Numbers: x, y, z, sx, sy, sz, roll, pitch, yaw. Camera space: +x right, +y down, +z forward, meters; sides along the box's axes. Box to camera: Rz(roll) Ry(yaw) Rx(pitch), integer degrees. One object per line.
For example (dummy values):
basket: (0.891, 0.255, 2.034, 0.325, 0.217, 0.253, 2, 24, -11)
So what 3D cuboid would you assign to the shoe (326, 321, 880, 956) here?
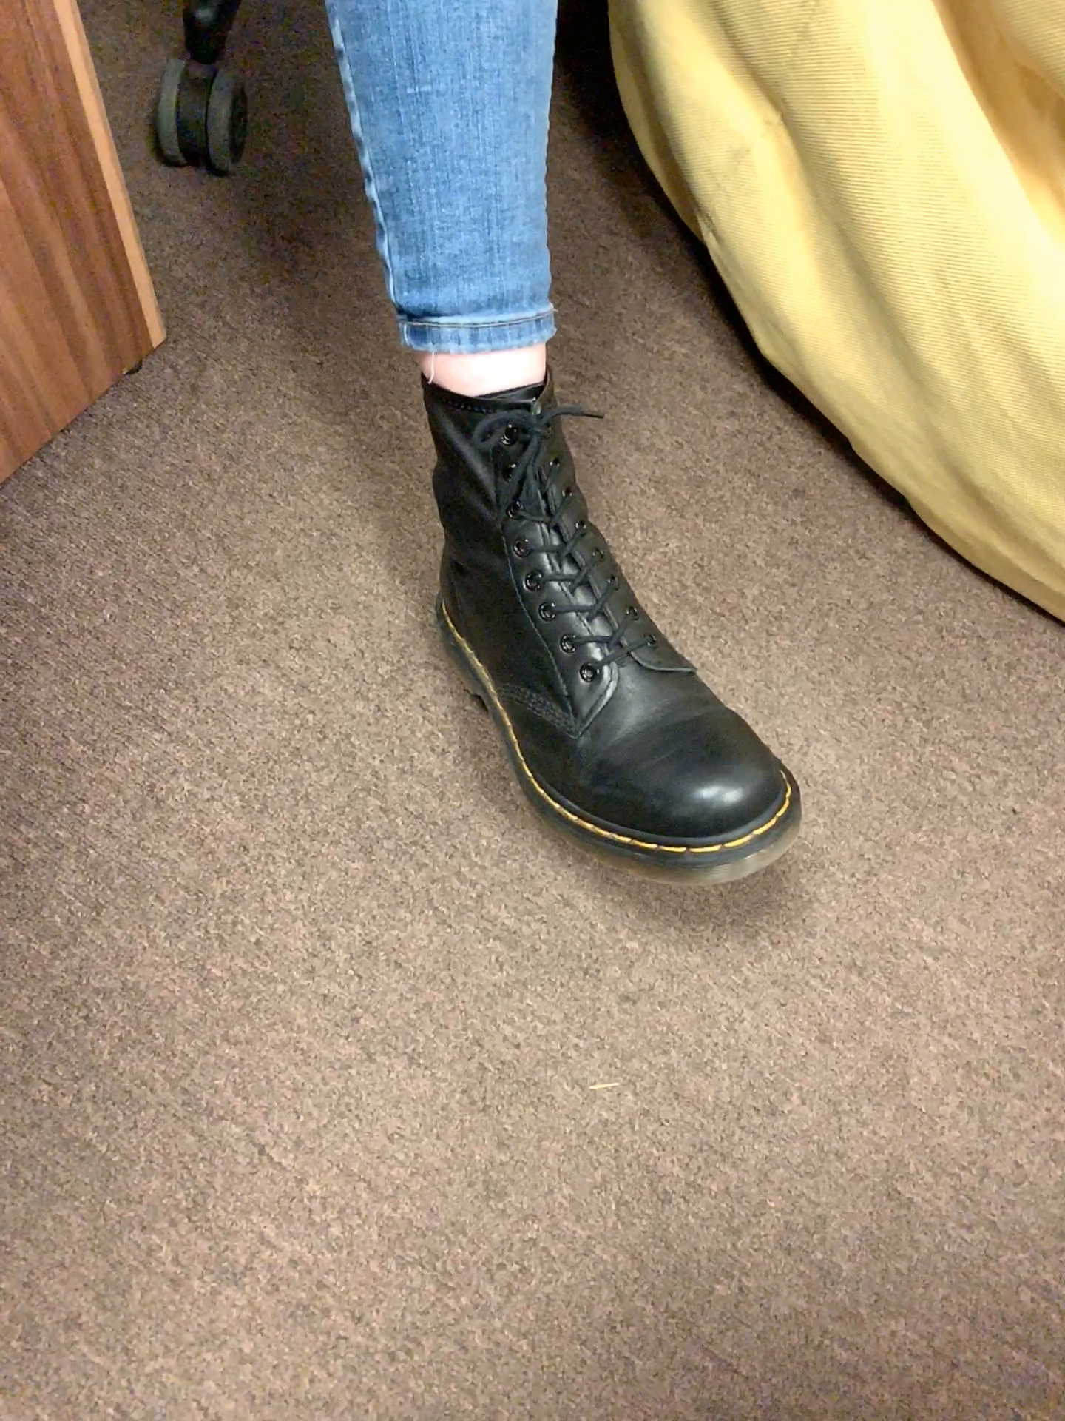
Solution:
shoe: (0.017, -0.055, 0.534, 0.120, 0.150, 0.290, -22, 44, -16)
